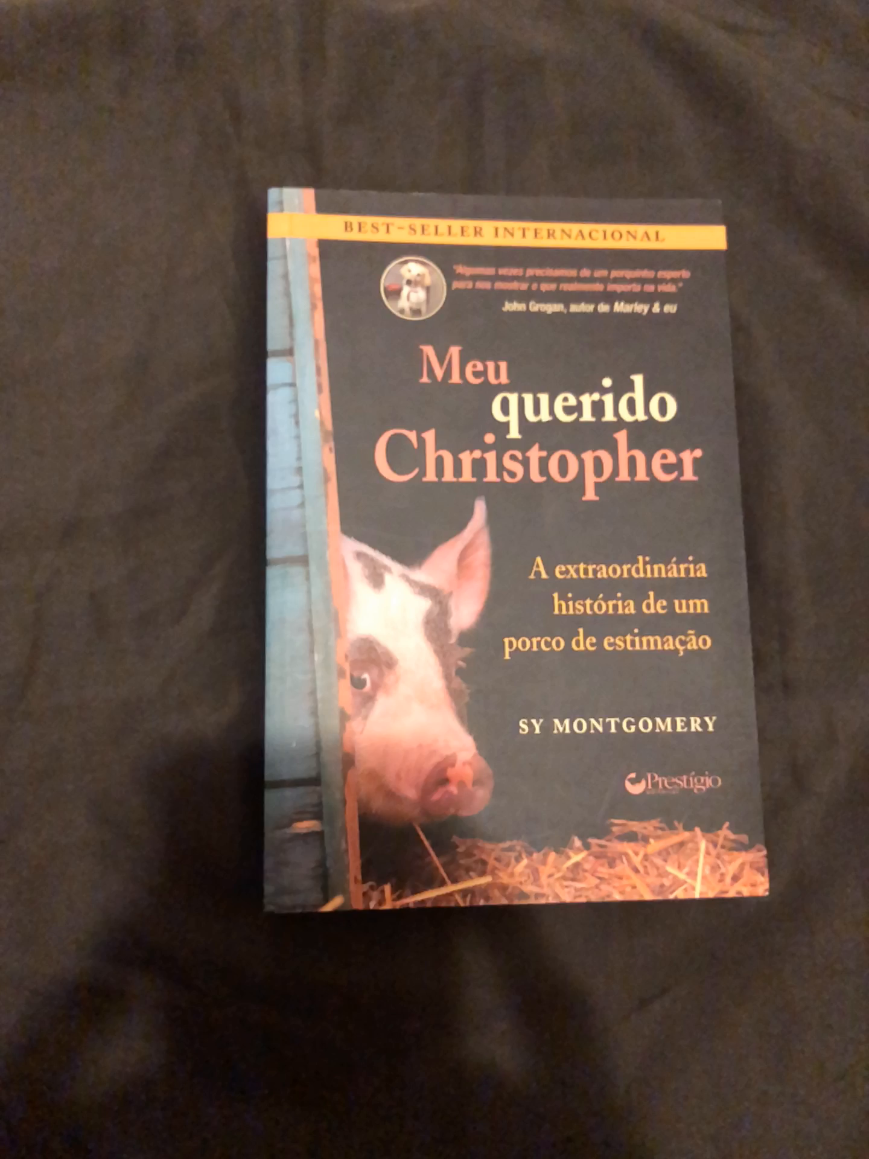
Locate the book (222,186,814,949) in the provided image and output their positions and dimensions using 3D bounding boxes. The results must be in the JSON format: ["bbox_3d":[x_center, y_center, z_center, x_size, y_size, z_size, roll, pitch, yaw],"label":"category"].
[{"bbox_3d":[0.024,-0.009,0.298,0.170,0.020,0.220,-2,84,-8],"label":"book"}]
